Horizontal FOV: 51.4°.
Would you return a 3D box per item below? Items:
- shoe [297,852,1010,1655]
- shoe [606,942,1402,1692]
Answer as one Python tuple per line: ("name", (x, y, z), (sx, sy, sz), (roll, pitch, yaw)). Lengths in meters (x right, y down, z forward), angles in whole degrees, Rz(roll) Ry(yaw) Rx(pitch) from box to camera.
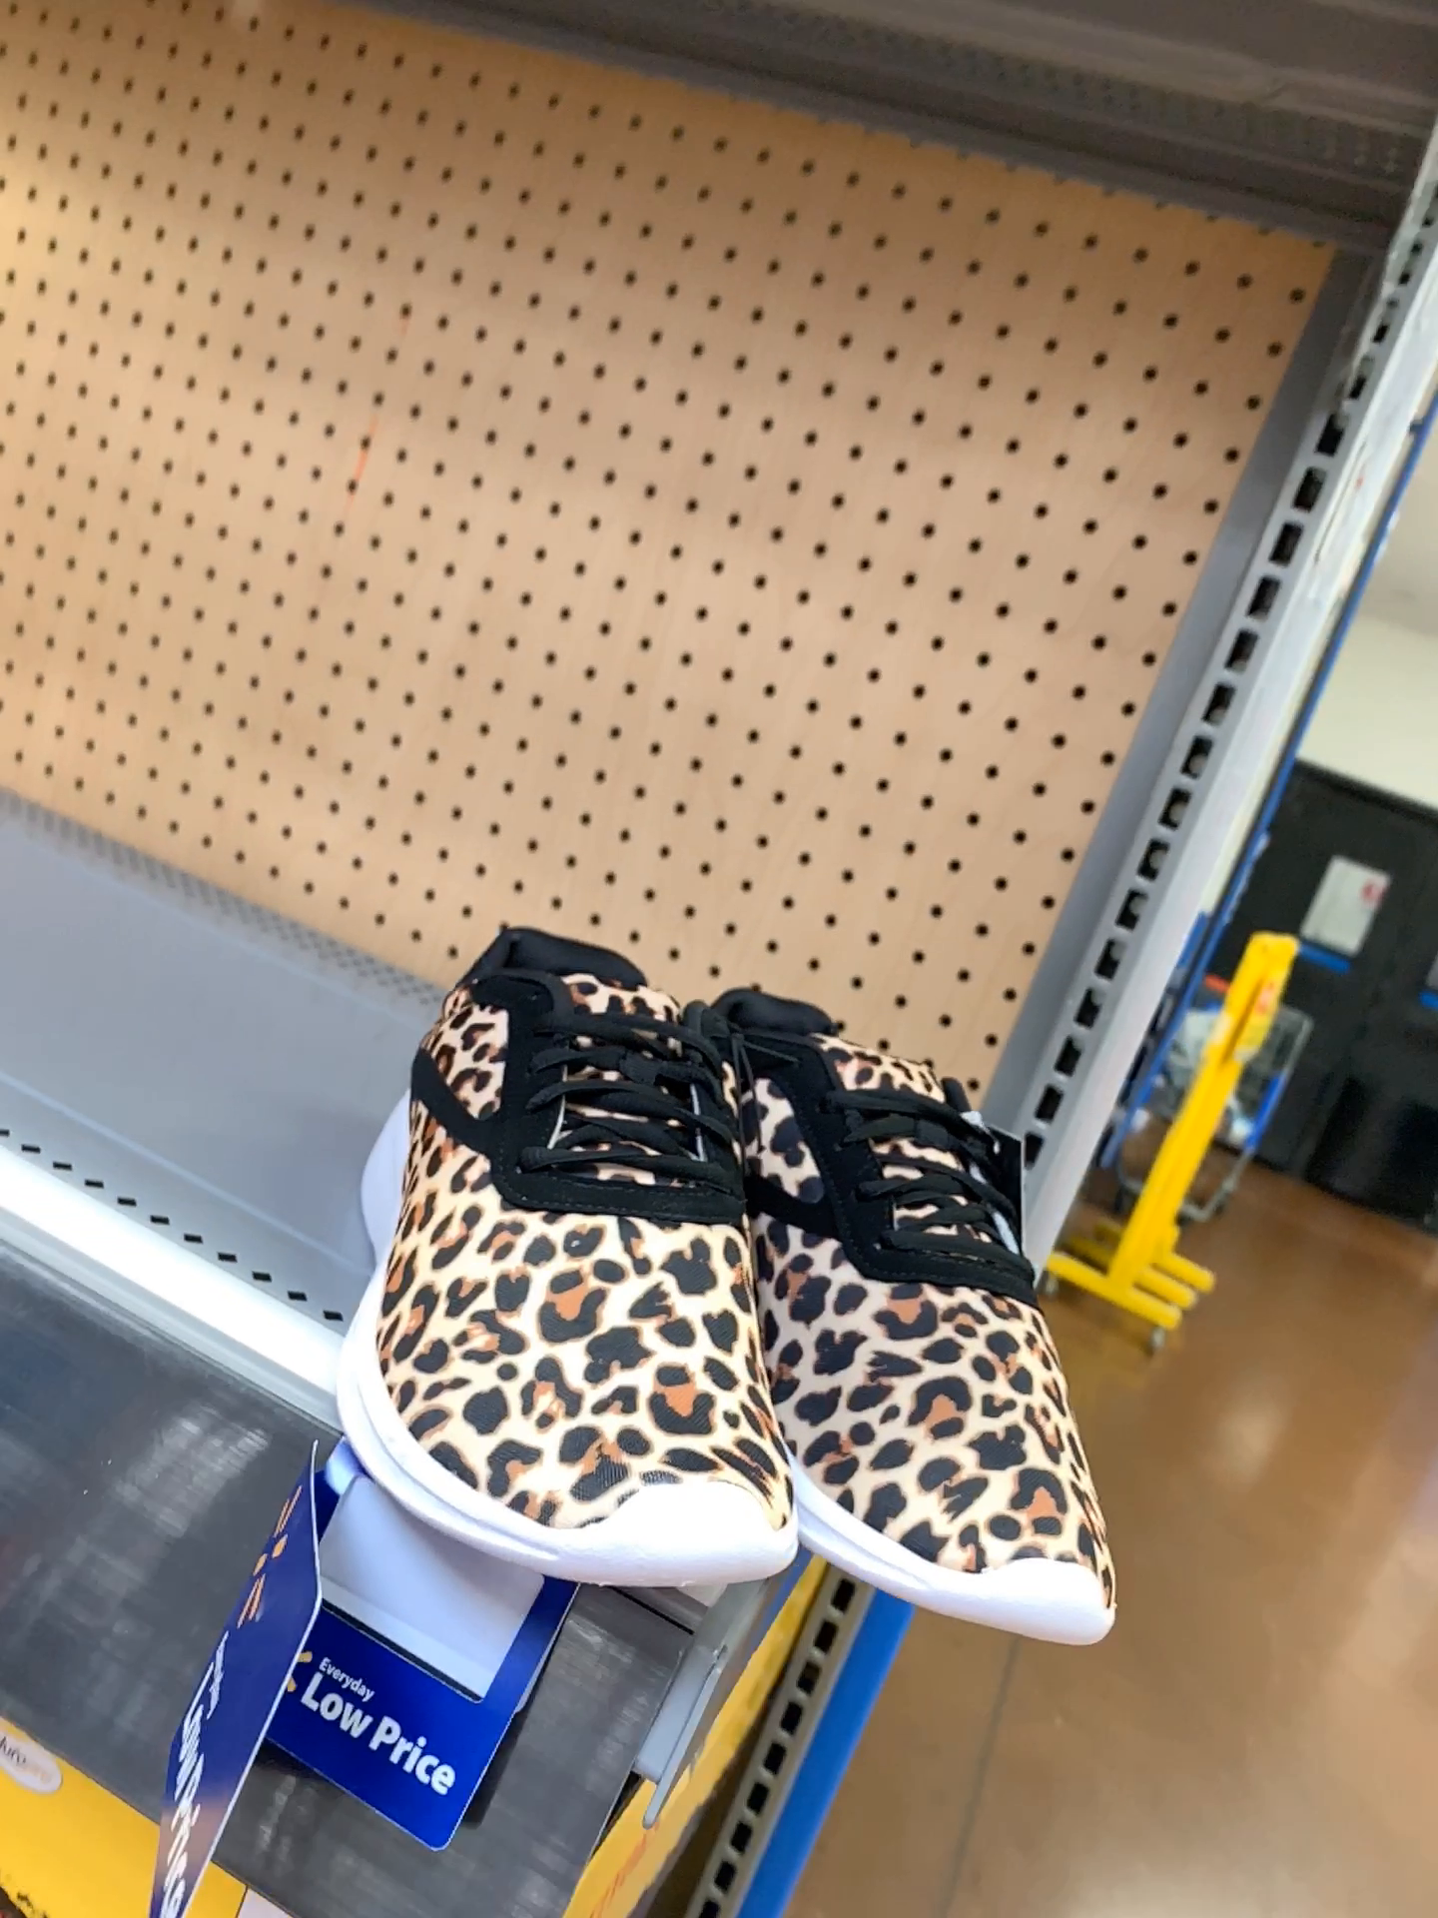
("shoe", (-0.038, 0.057, 0.407), (0.119, 0.091, 0.241), (17, 12, -18))
("shoe", (0.059, 0.086, 0.444), (0.110, 0.091, 0.241), (16, 12, -22))
